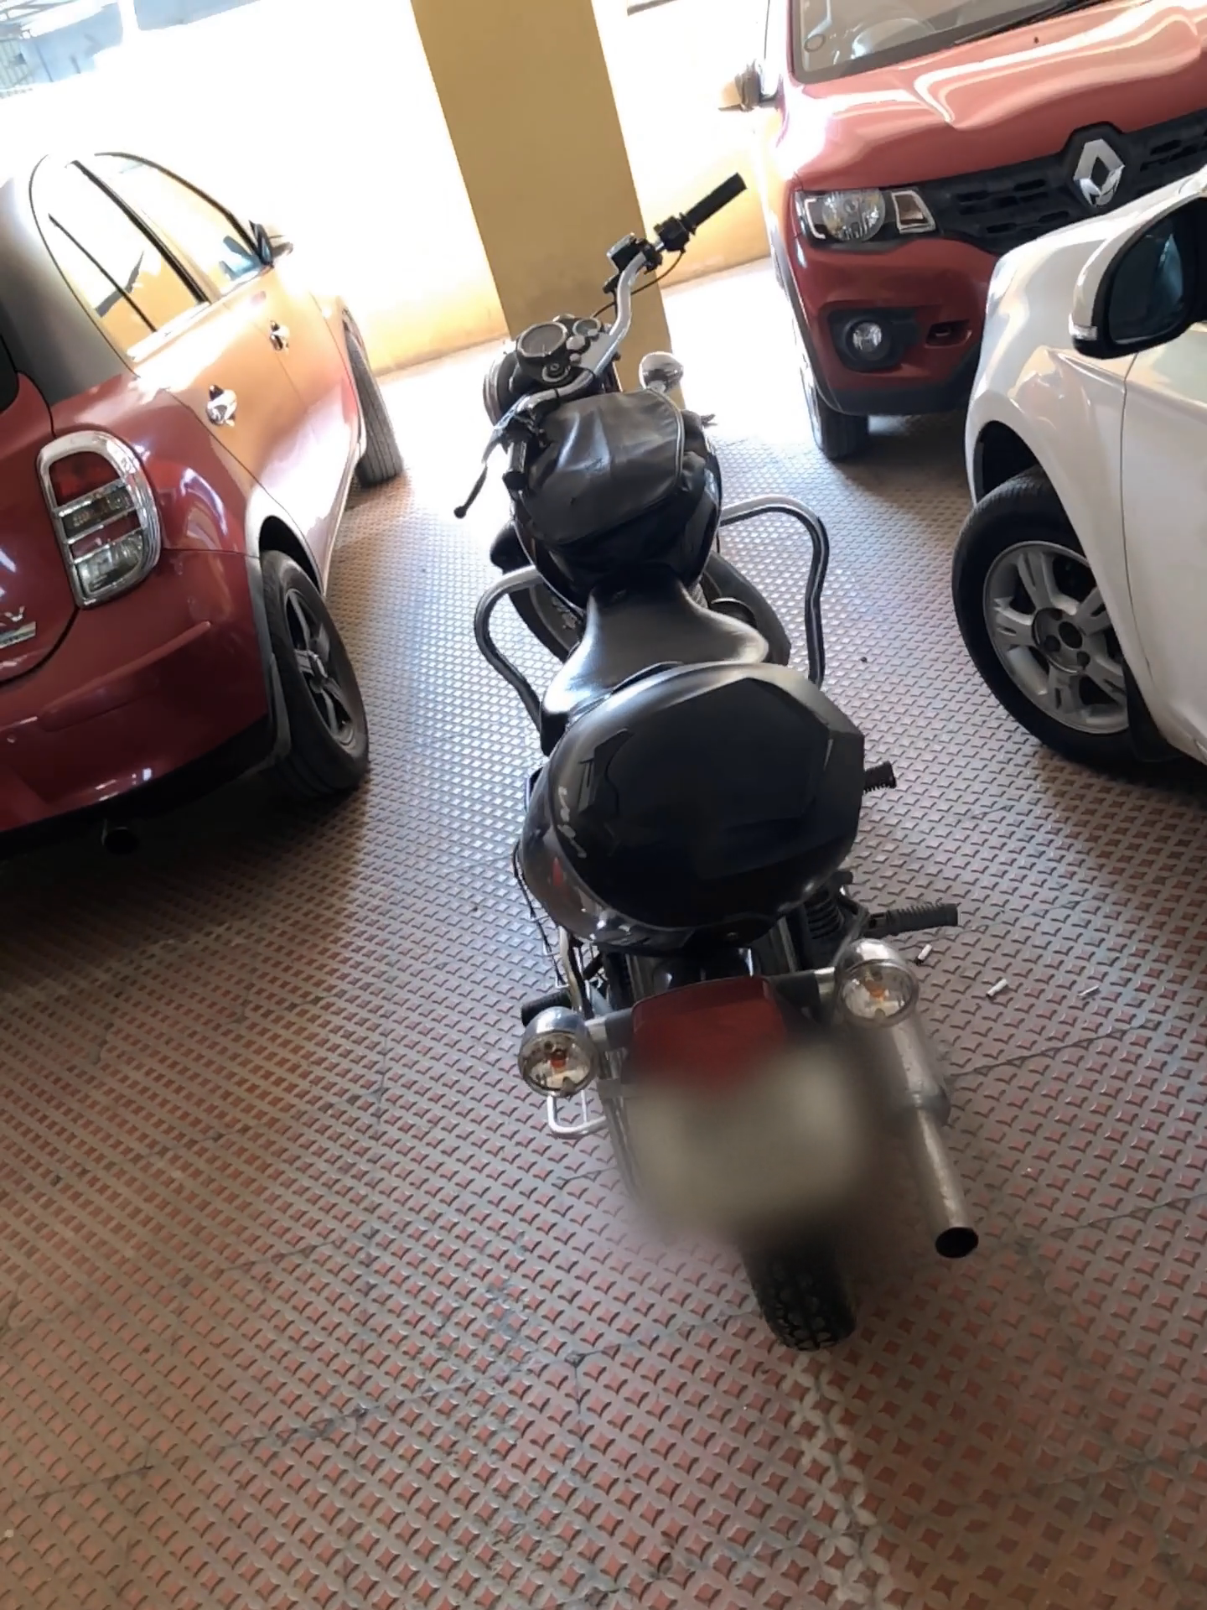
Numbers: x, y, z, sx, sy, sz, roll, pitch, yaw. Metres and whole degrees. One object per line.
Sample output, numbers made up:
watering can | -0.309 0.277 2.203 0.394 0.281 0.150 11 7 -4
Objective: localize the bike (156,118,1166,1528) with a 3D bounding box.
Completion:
bike | -0.048 -0.177 2.002 0.691 1.217 1.794 -19 34 -2
